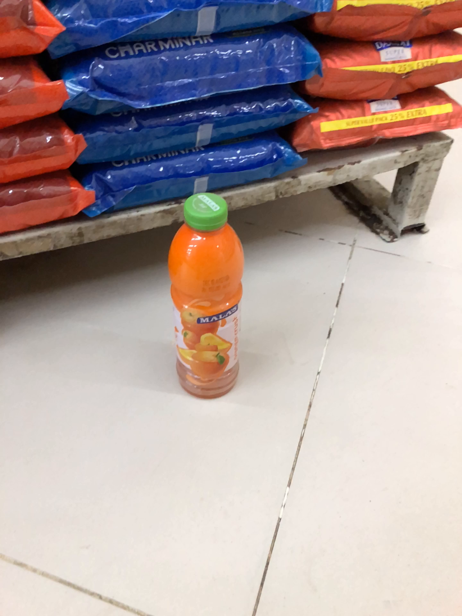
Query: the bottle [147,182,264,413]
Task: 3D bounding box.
[{"bbox_3d":[-0.027,-0.001,0.542,0.090,0.238,0.090,1,45,-1],"label":"bottle"}]
